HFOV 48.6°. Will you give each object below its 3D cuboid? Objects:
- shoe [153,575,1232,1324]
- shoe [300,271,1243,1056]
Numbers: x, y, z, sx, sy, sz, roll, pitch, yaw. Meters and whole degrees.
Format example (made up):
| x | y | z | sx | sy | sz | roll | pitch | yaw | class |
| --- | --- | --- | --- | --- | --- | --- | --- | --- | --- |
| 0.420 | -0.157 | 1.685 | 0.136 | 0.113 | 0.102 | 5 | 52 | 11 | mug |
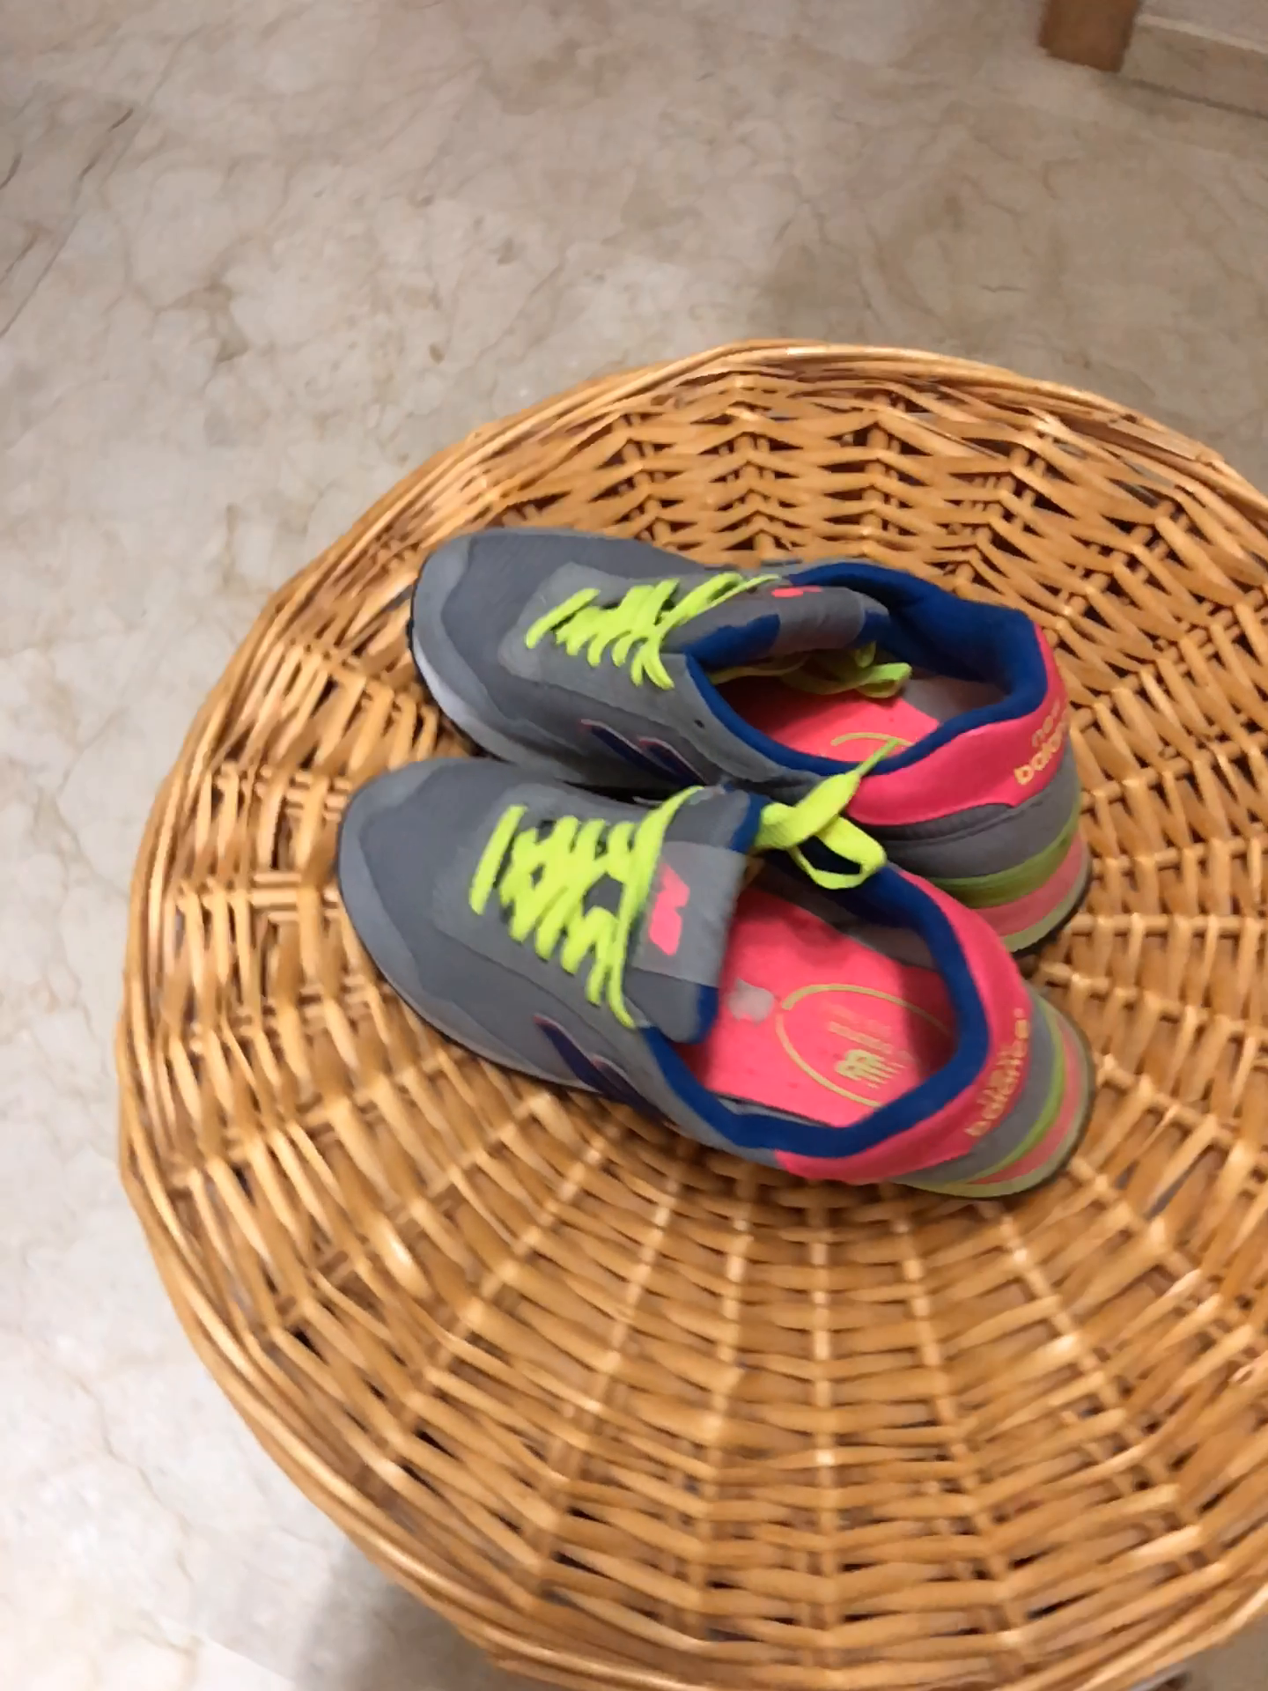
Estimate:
| x | y | z | sx | sy | sz | roll | pitch | yaw | class |
| --- | --- | --- | --- | --- | --- | --- | --- | --- | --- |
| 0.014 | 0.034 | 0.438 | 0.280 | 0.110 | 0.100 | 24 | 76 | 11 | shoe |
| 0.036 | -0.058 | 0.458 | 0.260 | 0.110 | 0.100 | 33 | 73 | 14 | shoe |
